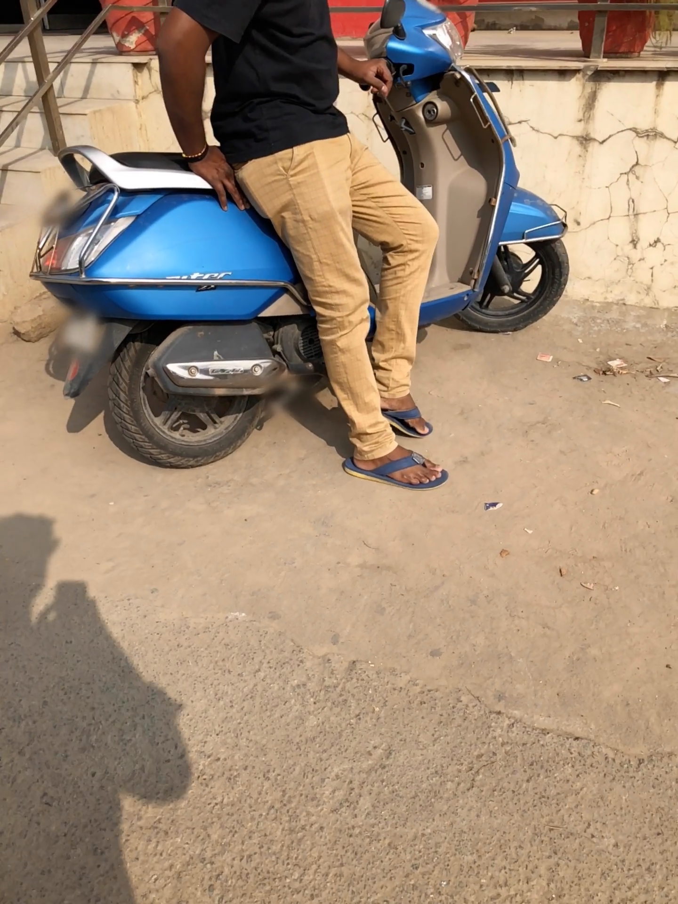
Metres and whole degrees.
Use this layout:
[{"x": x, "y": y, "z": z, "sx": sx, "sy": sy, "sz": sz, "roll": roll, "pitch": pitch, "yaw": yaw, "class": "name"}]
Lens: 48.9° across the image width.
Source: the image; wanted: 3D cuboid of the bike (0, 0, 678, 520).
[{"x": 0.097, "y": -0.653, "z": 2.103, "sx": 1.574, "sy": 1.021, "sz": 0.595, "roll": -22, "pitch": 36, "yaw": -26, "class": "bike"}]
